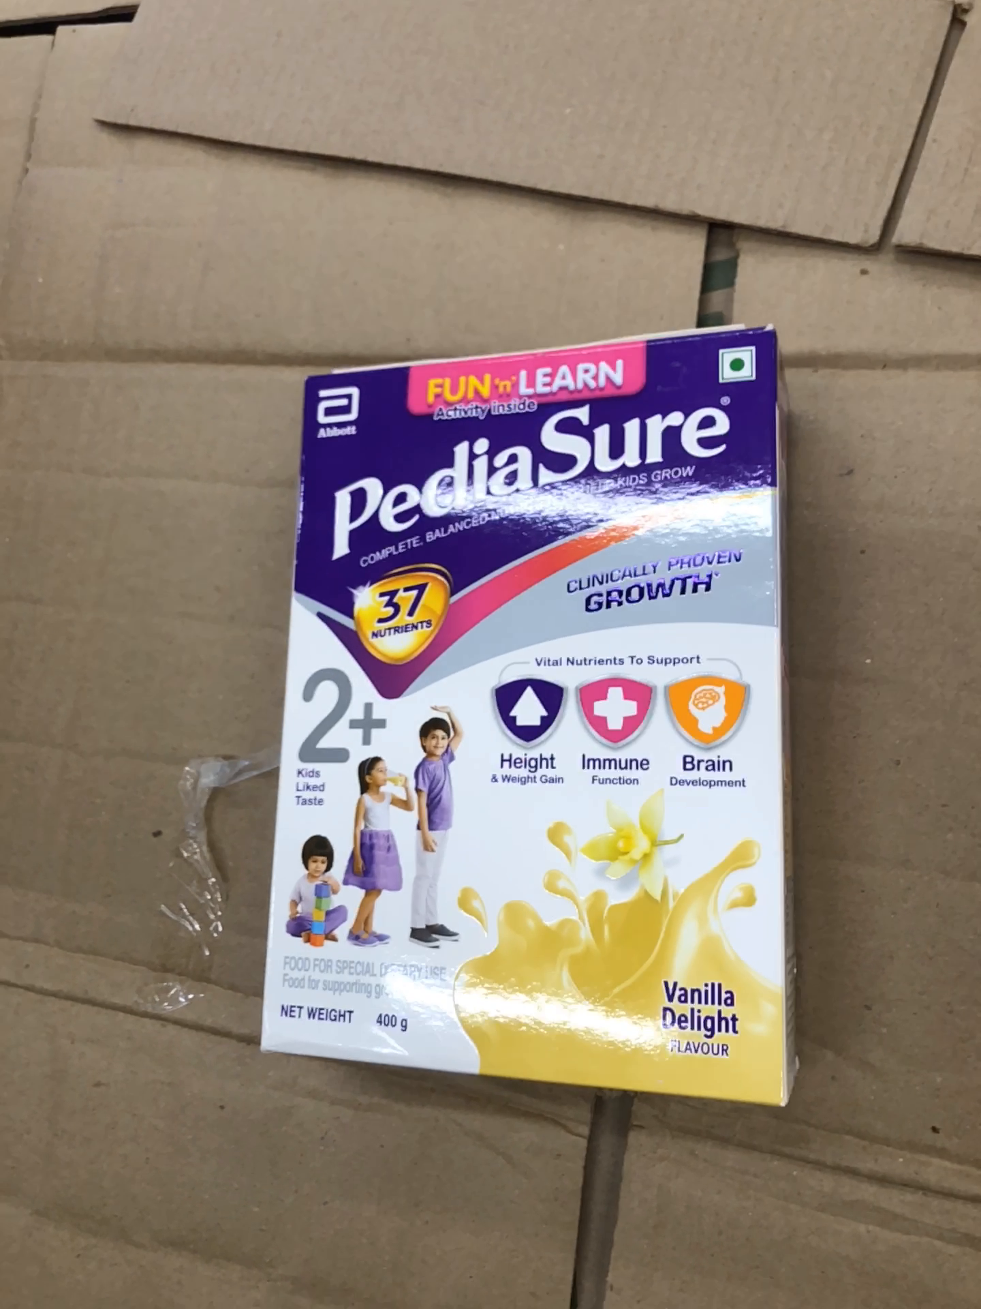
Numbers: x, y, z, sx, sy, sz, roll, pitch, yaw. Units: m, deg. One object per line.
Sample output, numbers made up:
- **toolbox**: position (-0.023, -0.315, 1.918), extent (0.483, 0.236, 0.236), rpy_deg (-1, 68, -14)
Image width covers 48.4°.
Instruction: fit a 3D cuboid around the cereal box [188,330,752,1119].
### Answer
- **cereal box**: position (-0.001, 0.016, 0.306), extent (0.140, 0.050, 0.190), rpy_deg (-1, 79, 18)
